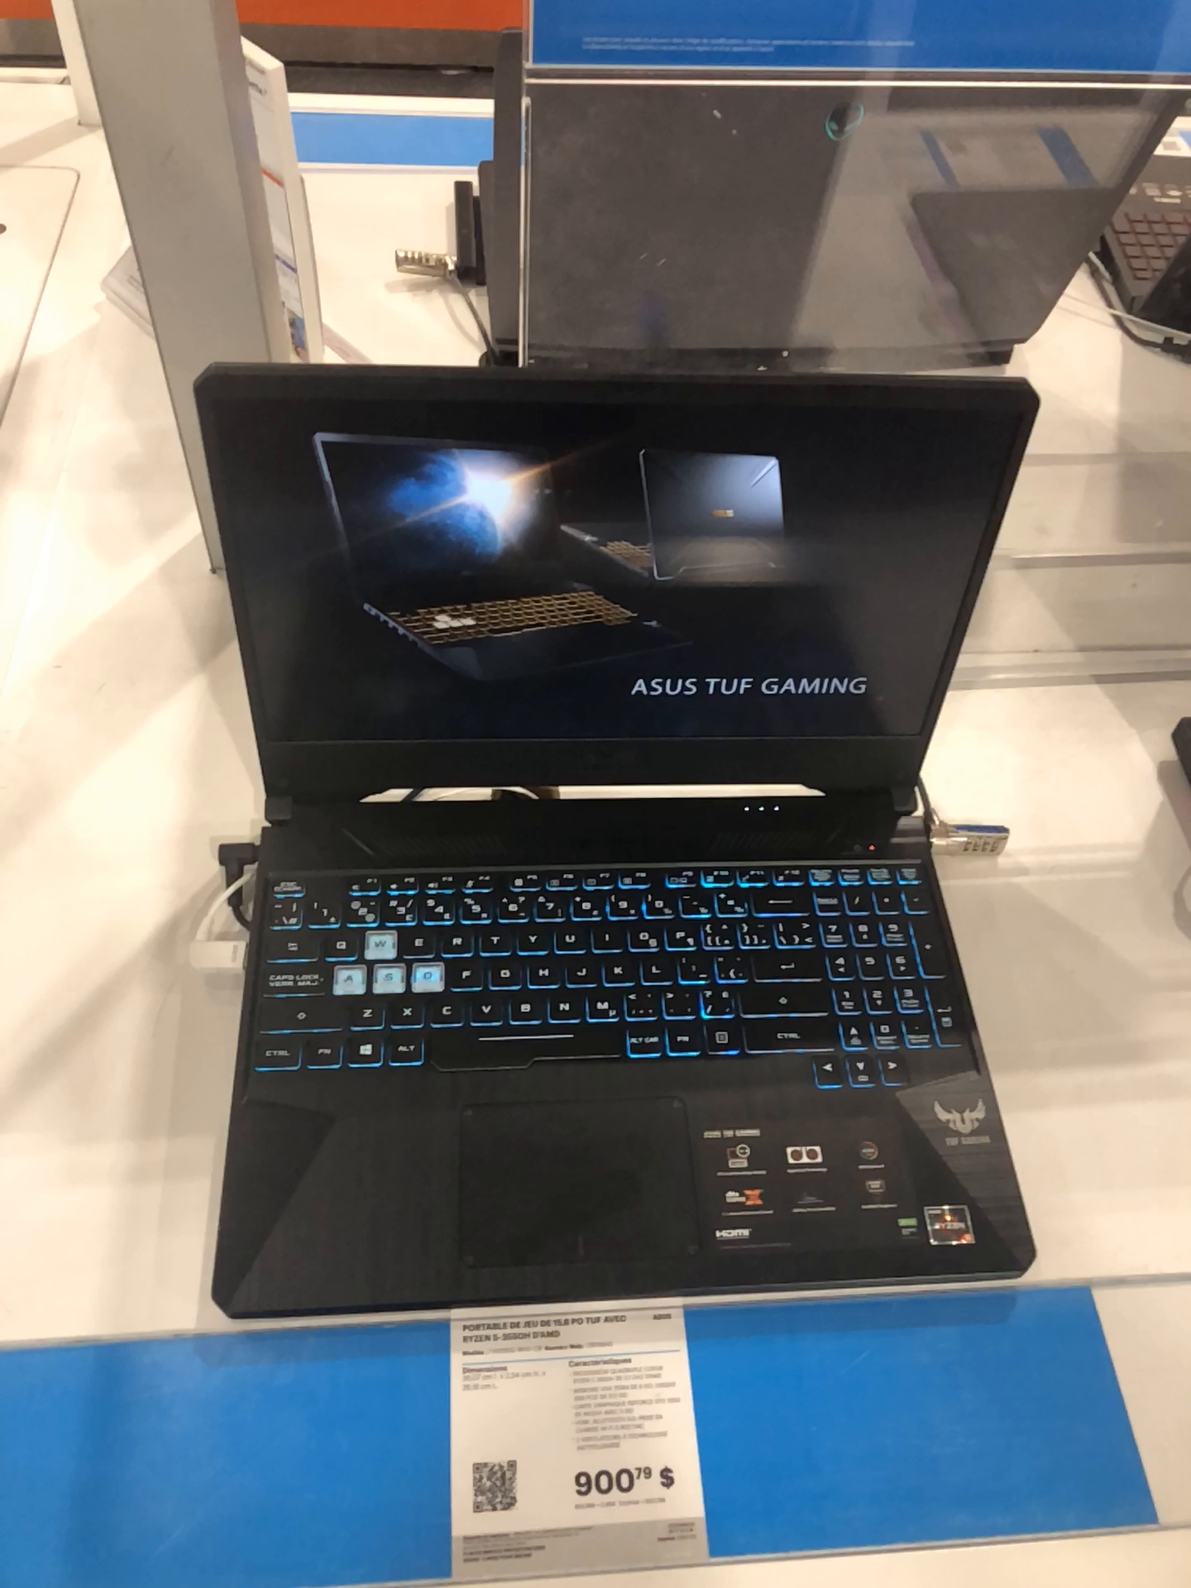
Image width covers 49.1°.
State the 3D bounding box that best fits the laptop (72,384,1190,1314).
[{"bbox_3d":[0.017,0.019,0.558,0.350,0.235,0.302,-1,53,-5],"label":"laptop"}]
